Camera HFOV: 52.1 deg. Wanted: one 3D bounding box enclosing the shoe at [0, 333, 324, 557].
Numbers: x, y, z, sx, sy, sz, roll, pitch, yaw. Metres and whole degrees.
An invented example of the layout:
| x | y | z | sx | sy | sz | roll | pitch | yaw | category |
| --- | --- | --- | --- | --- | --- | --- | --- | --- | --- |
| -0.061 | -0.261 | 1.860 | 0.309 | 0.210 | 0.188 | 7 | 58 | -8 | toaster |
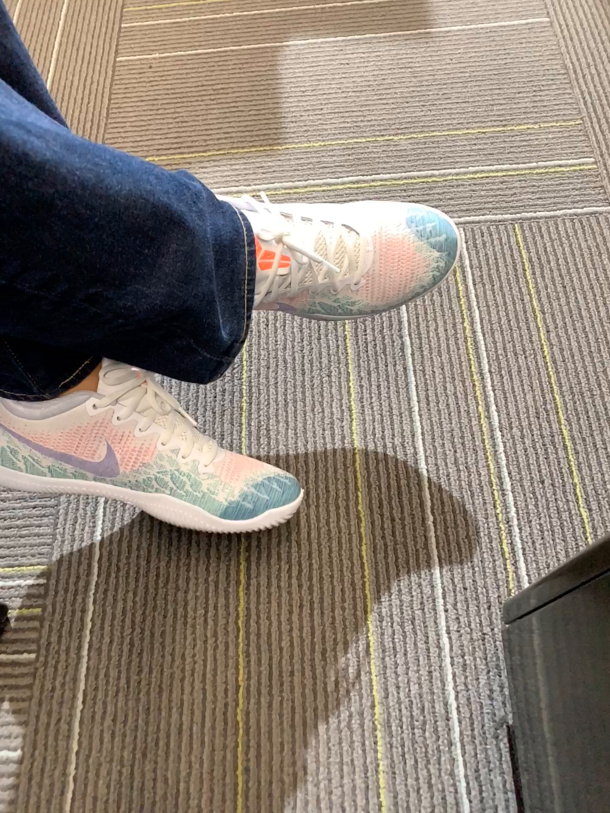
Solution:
| x | y | z | sx | sy | sz | roll | pitch | yaw | category |
| --- | --- | --- | --- | --- | --- | --- | --- | --- | --- |
| -0.135 | 0.027 | 0.532 | 0.286 | 0.108 | 0.115 | 7 | 37 | 8 | shoe |

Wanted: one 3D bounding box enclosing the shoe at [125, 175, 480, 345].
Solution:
| x | y | z | sx | sy | sz | roll | pitch | yaw | category |
| --- | --- | --- | --- | --- | --- | --- | --- | --- | --- |
| -0.004 | -0.131 | 0.539 | 0.265 | 0.108 | 0.113 | 3 | 25 | 0 | shoe |
